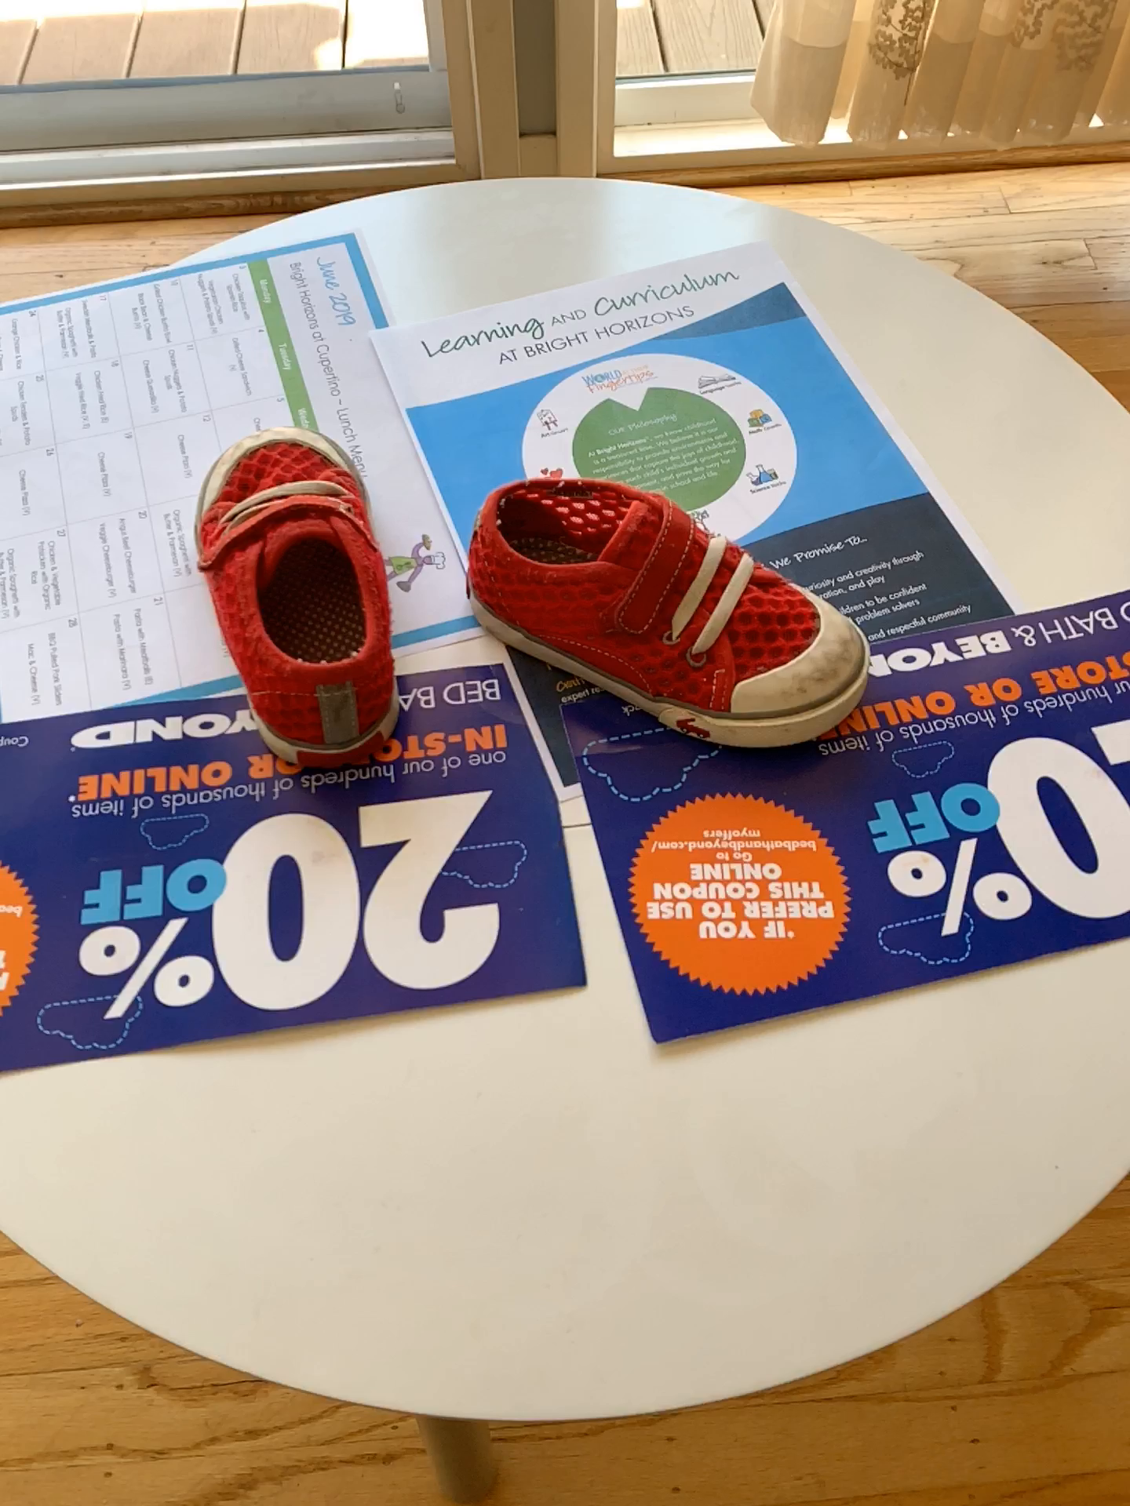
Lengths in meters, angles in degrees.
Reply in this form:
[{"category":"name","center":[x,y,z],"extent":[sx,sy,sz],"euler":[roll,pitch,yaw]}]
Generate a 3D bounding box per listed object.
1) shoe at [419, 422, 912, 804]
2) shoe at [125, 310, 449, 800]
[{"category":"shoe","center":[0.040,-0.062,0.493],"extent":[0.180,0.070,0.080],"euler":[23,62,14]},{"category":"shoe","center":[-0.109,-0.081,0.448],"extent":[0.080,0.070,0.170],"euler":[-16,60,-8]}]
